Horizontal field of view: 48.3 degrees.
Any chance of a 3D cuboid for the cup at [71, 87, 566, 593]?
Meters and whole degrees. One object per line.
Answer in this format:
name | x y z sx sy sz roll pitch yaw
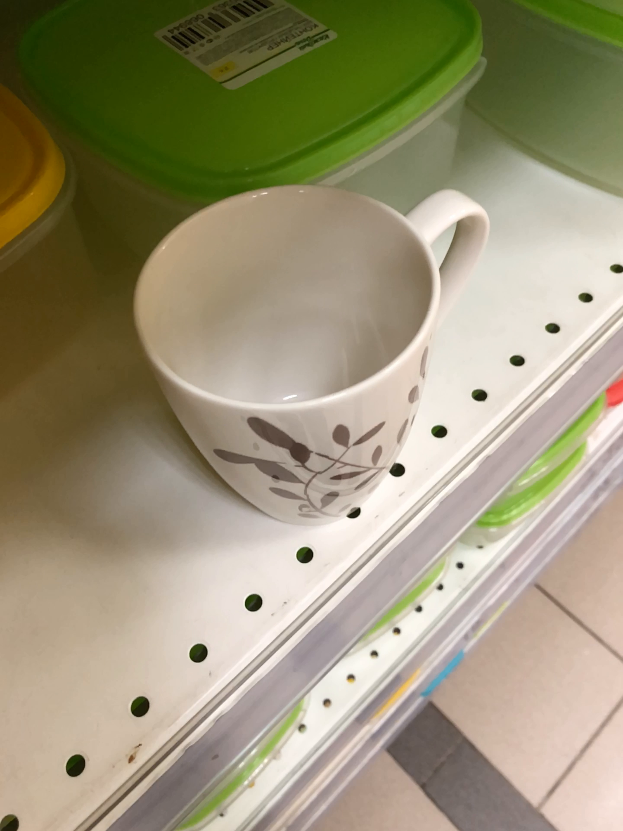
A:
cup | 0.006 -0.025 0.243 0.086 0.097 0.121 37 67 22
